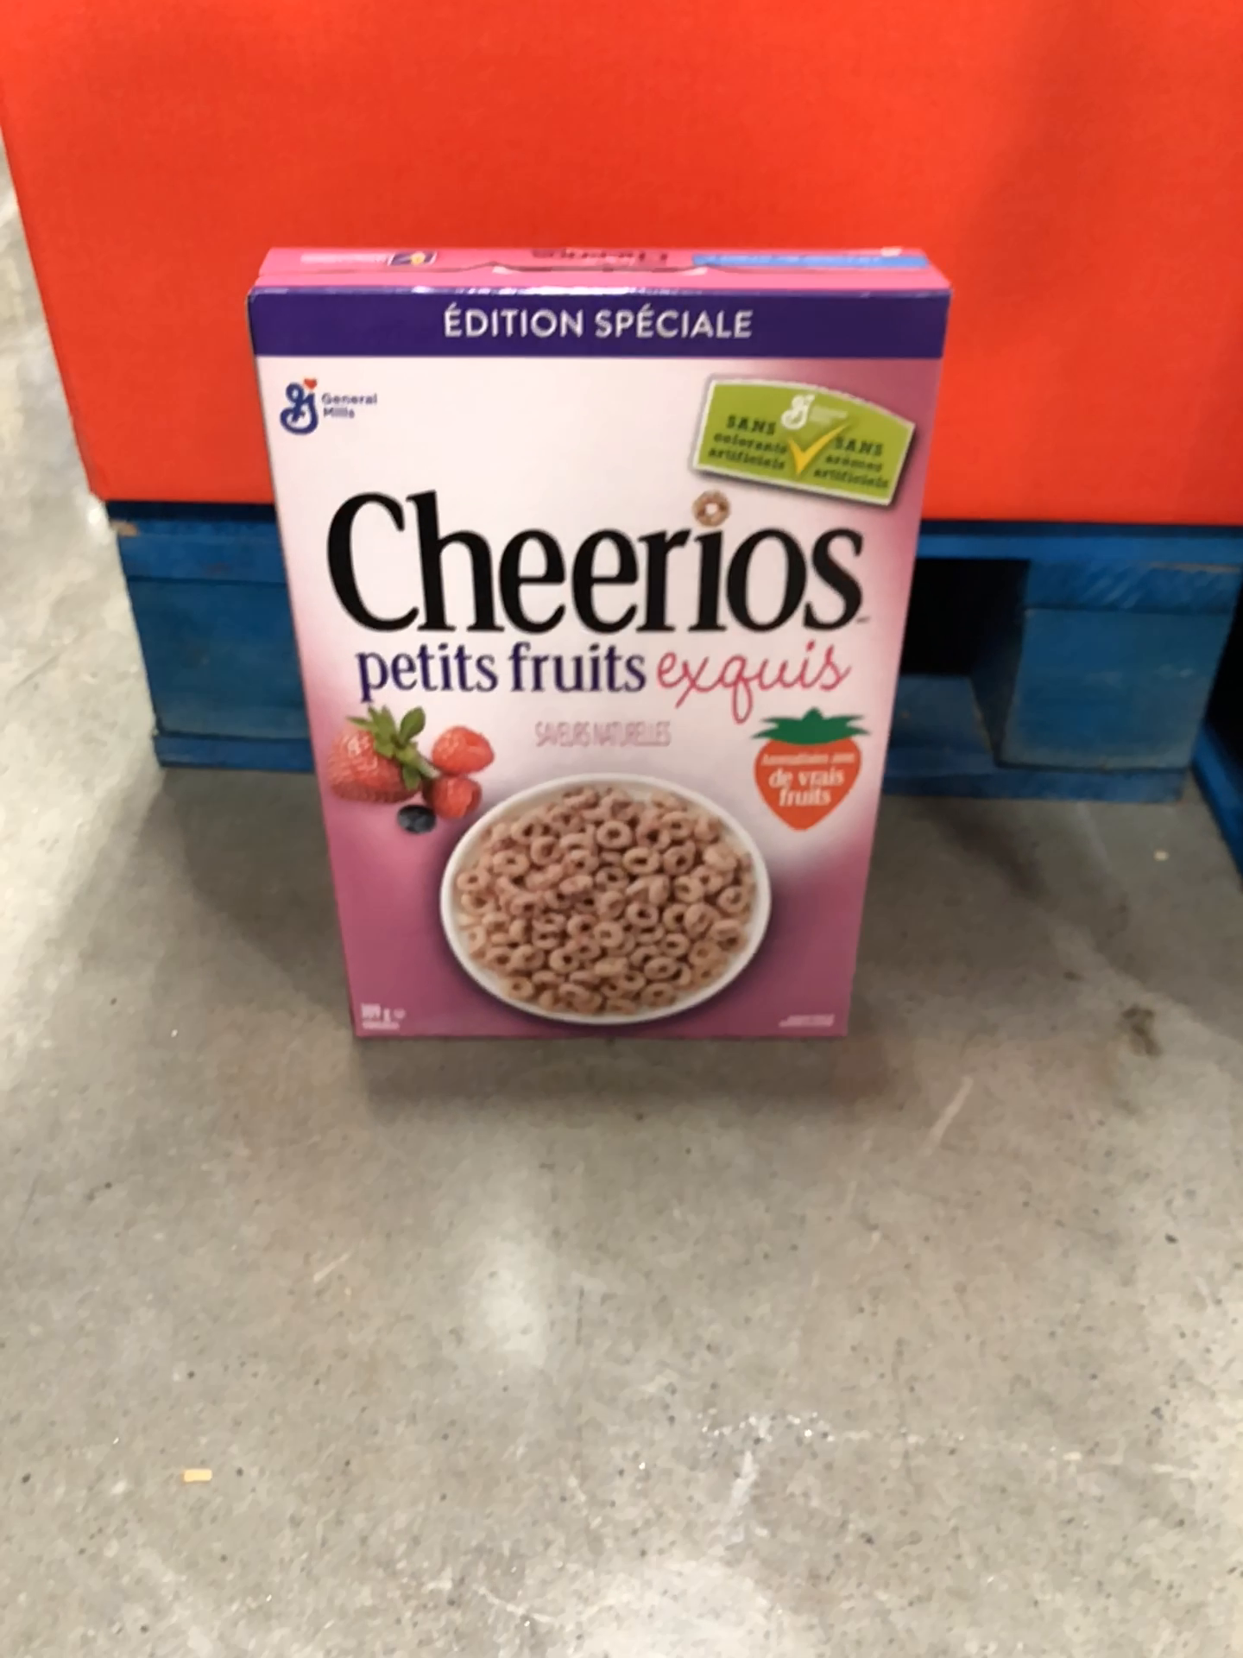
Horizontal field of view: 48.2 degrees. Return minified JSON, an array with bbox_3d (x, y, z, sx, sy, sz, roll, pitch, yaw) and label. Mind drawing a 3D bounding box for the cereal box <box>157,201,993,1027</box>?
[{"bbox_3d":[-0.013,-0.056,0.472,0.220,0.279,0.060,1,36,0],"label":"cereal box"}]
